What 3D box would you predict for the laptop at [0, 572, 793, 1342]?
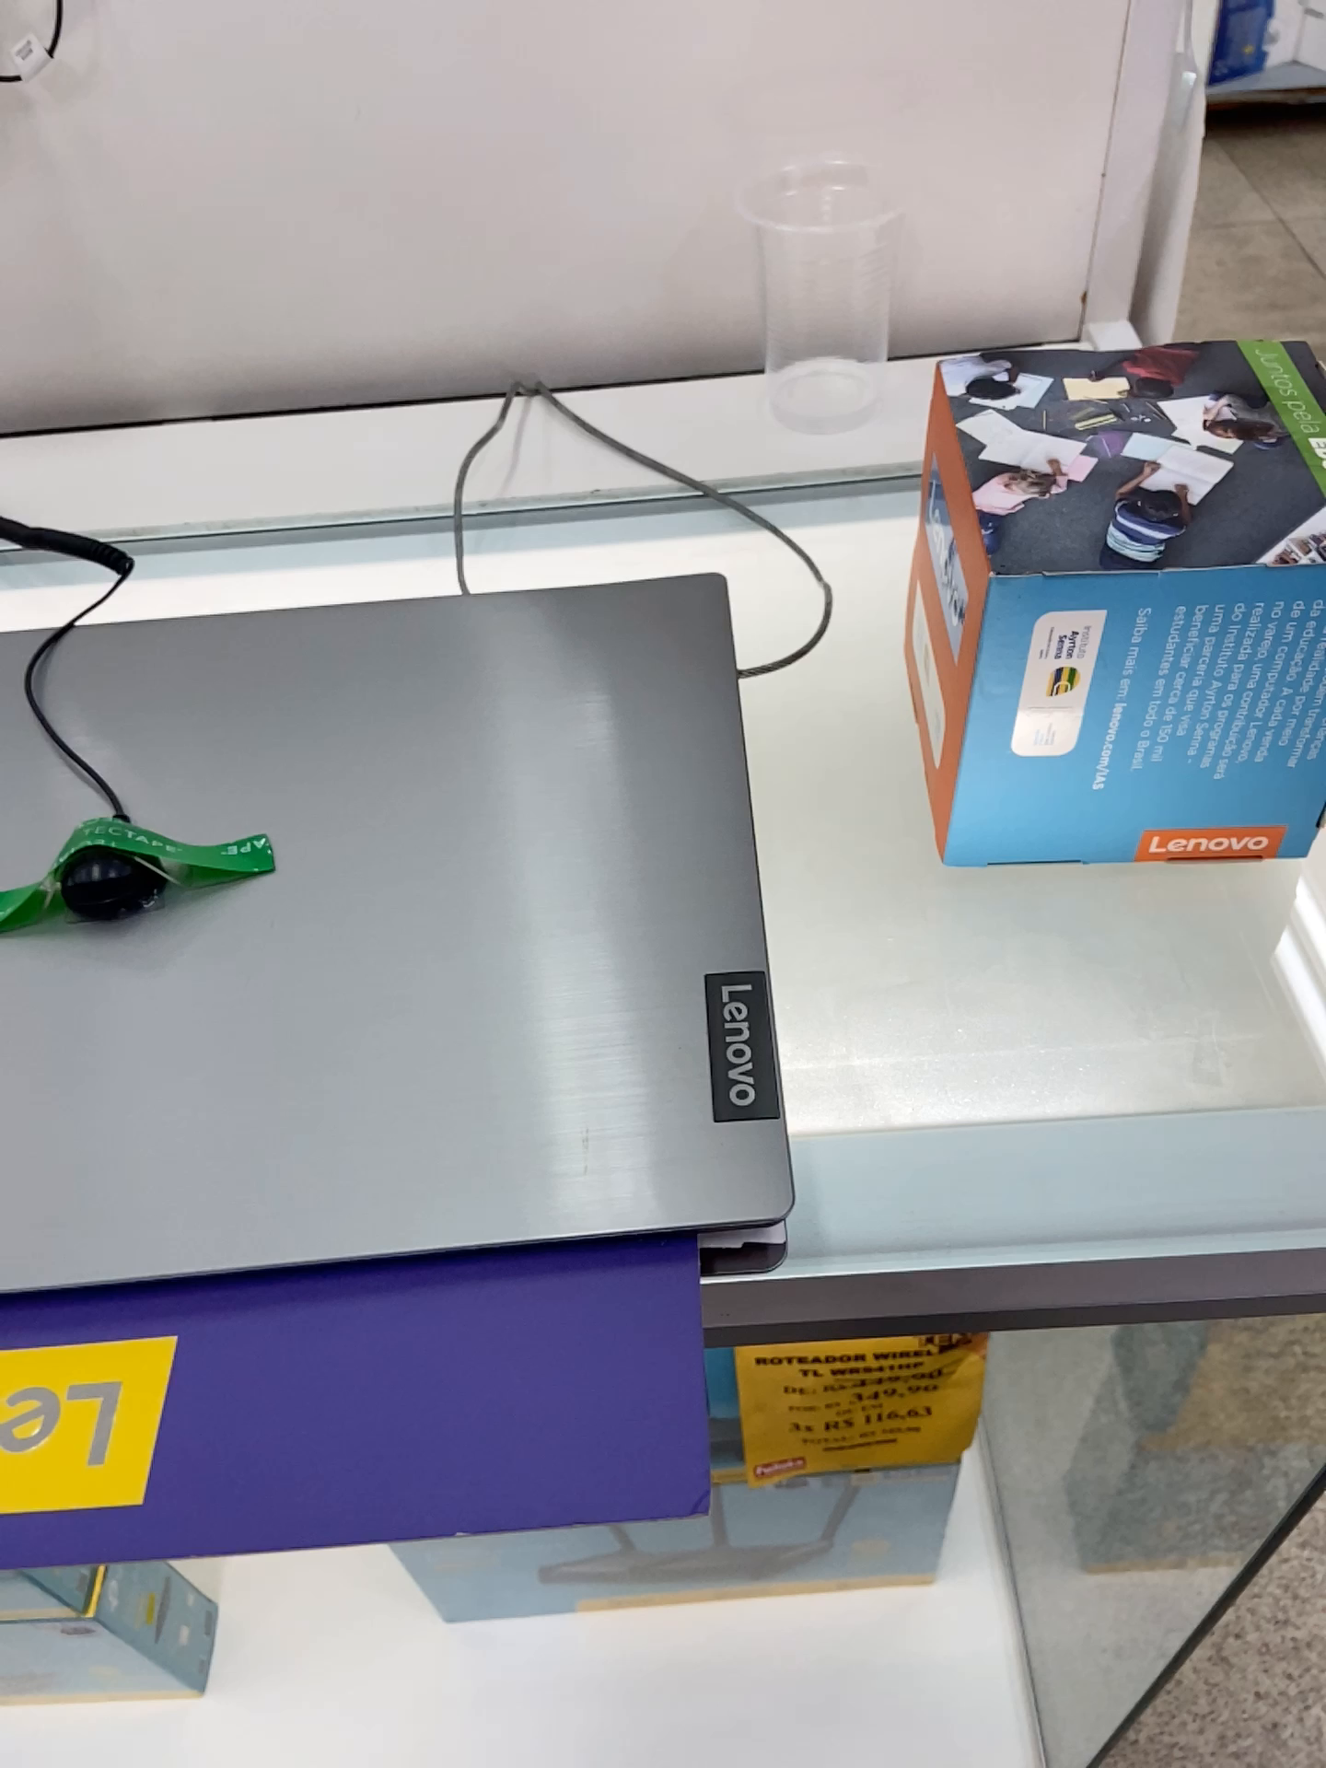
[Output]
[{"bbox_3d":[-0.157,0.000,0.385,0.362,0.001,0.241,-5,48,2],"label":"laptop"}]
